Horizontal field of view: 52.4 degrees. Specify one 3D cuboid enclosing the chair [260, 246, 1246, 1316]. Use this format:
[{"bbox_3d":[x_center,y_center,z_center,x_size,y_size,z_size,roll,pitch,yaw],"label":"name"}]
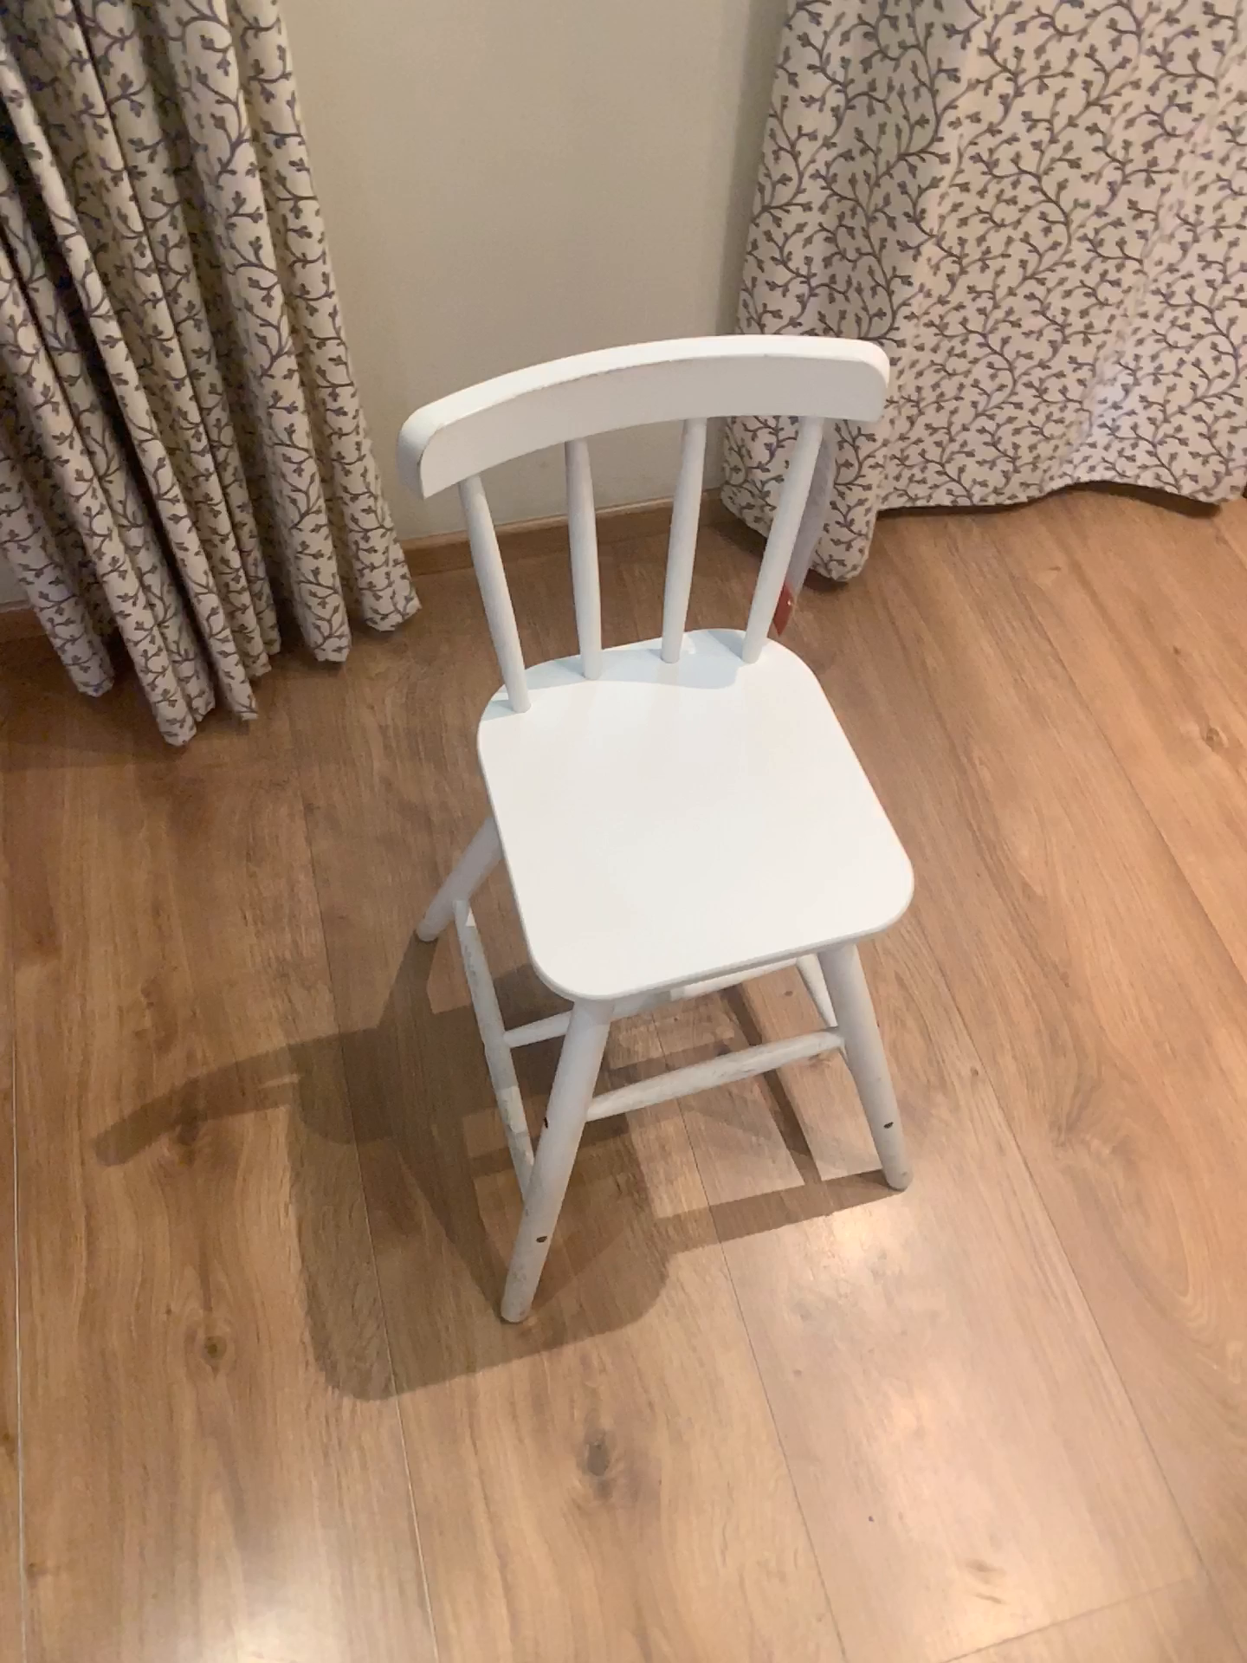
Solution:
[{"bbox_3d":[0.052,0.012,0.965,0.450,0.649,0.431,-14,59,-11],"label":"chair"}]
